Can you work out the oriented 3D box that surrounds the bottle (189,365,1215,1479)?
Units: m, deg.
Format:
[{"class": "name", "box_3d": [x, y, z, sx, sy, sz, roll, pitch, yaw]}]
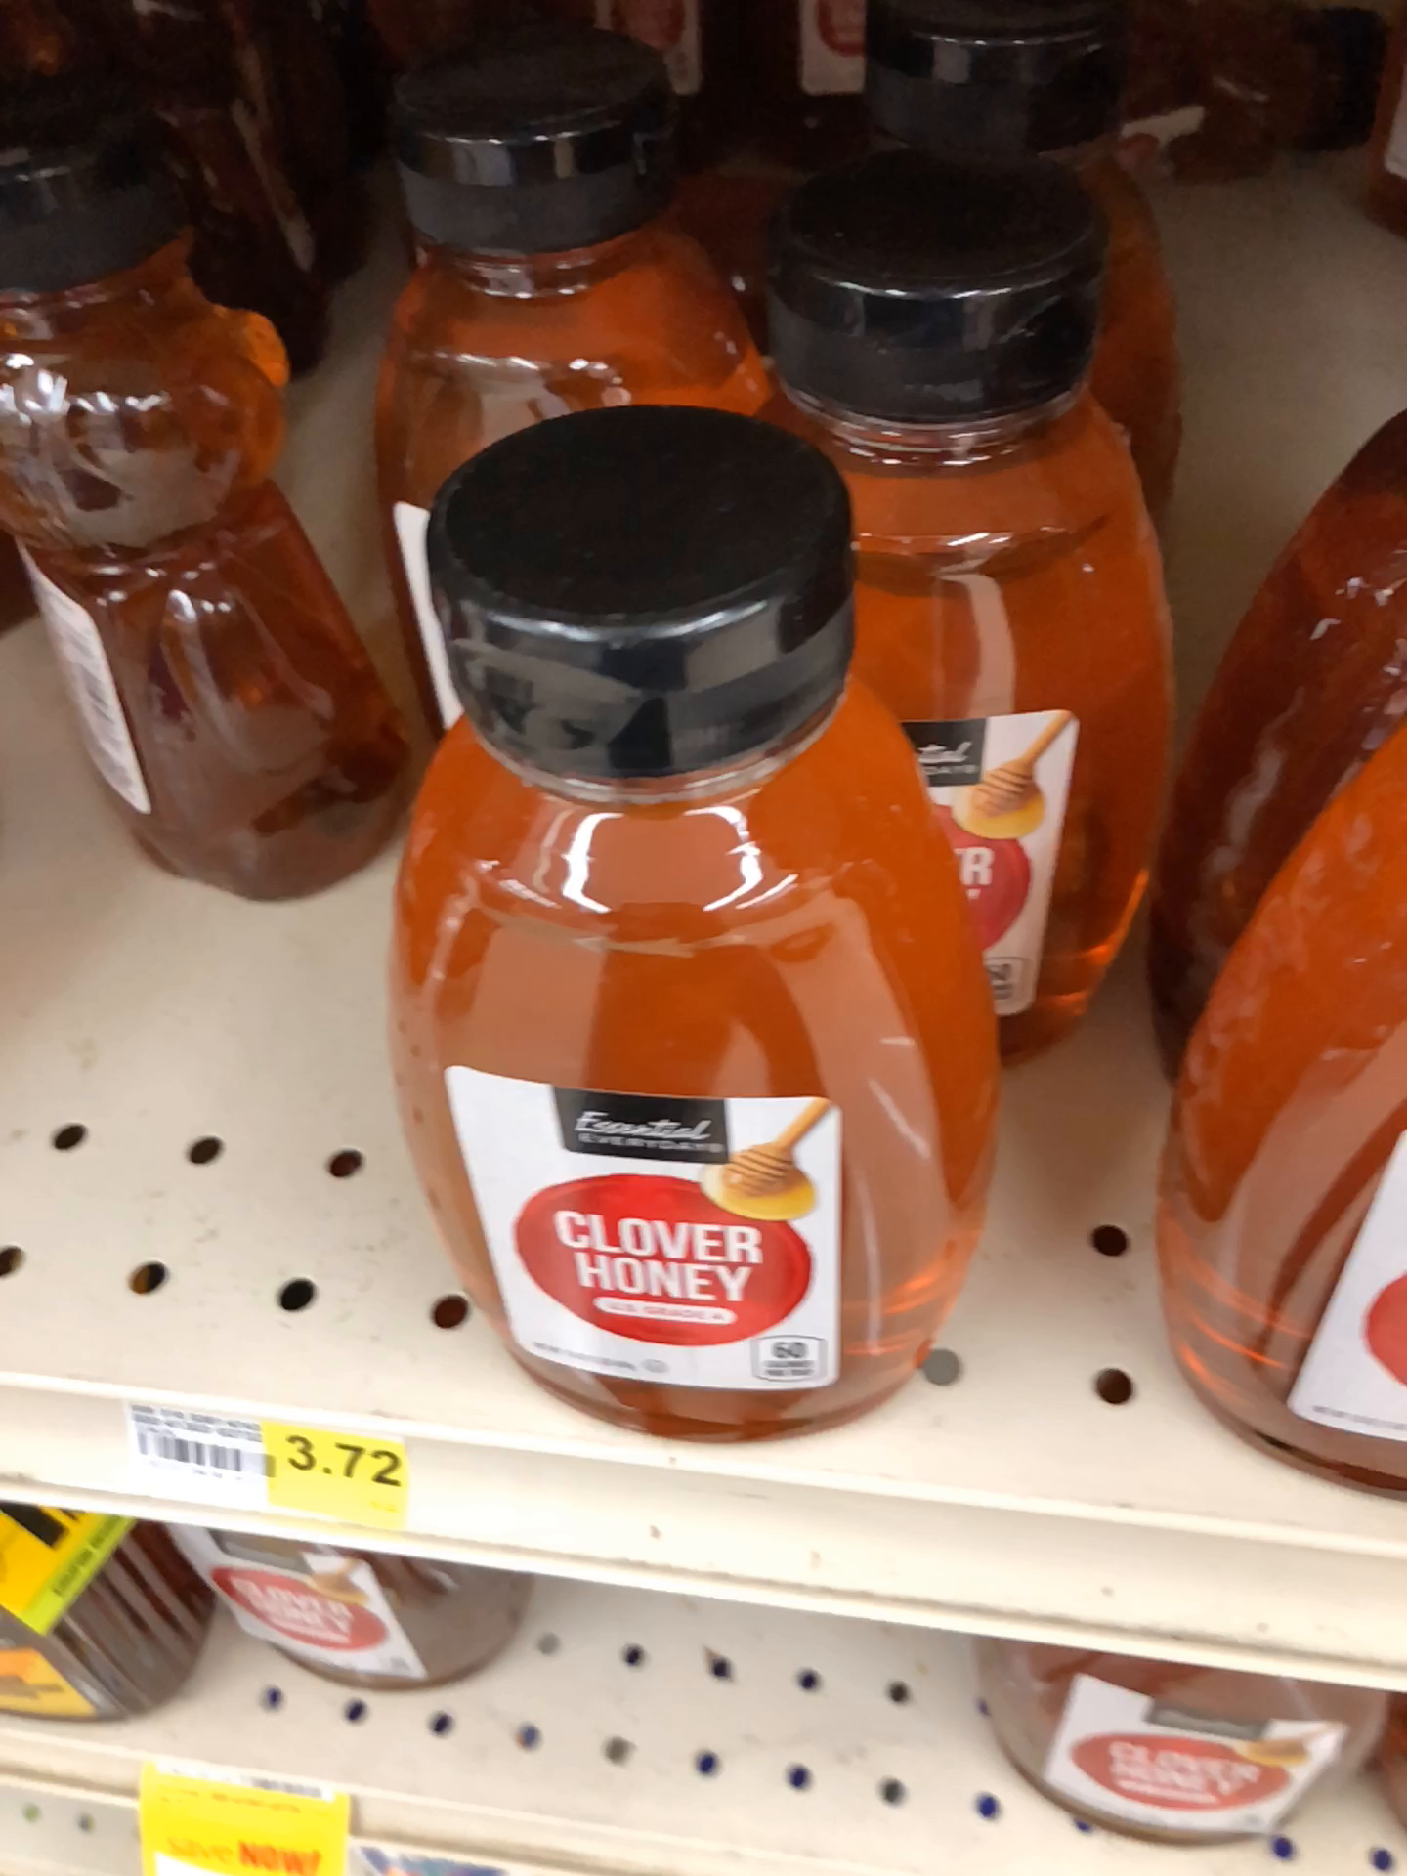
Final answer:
[{"class": "bottle", "box_3d": [0.006, 0.006, 0.195, 0.083, 0.130, 0.060, 4, 48, 8]}]
